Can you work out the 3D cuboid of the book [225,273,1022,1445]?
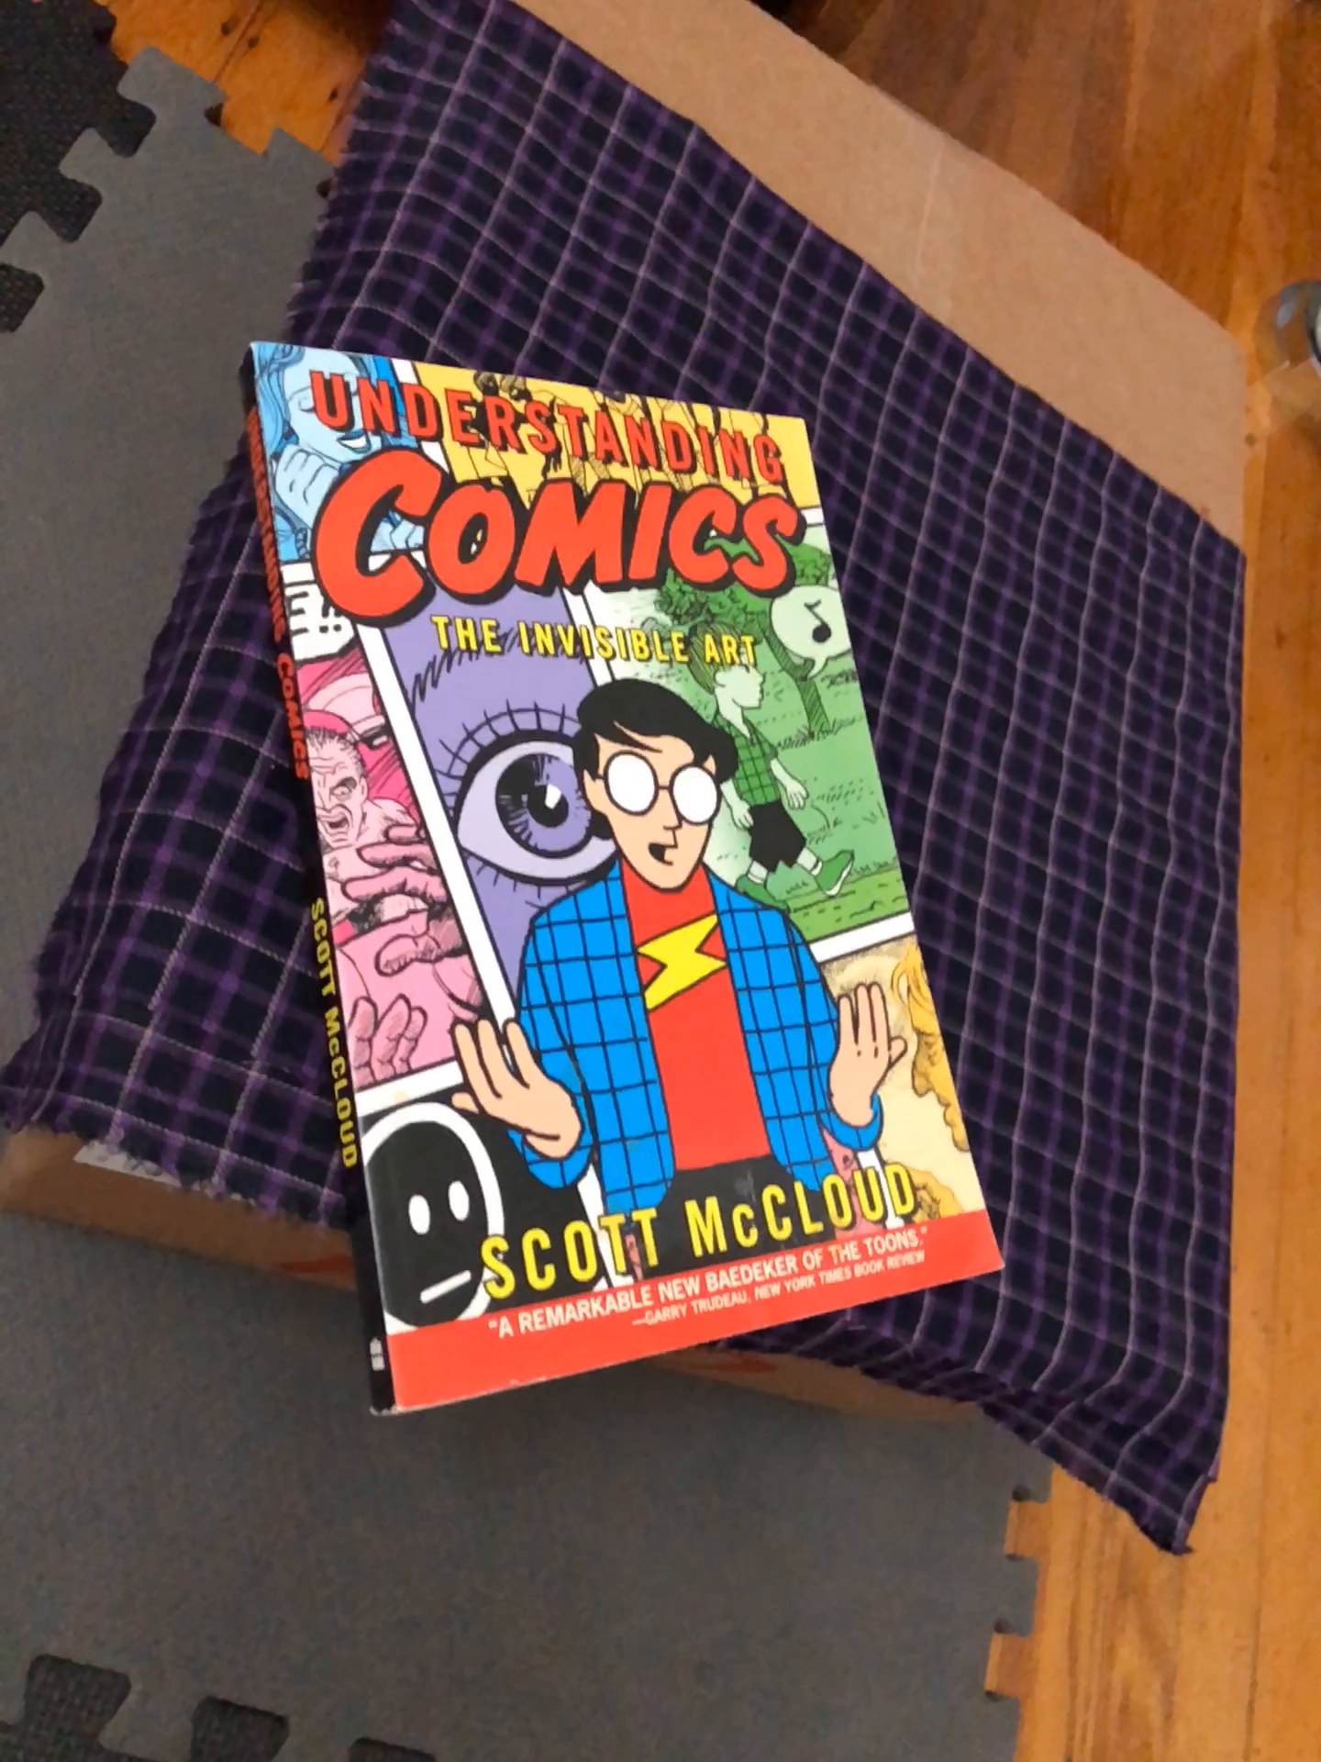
[{"bbox_3d":[-0.008,-0.018,0.373,0.170,0.020,0.270,-2,74,-32],"label":"book"}]
